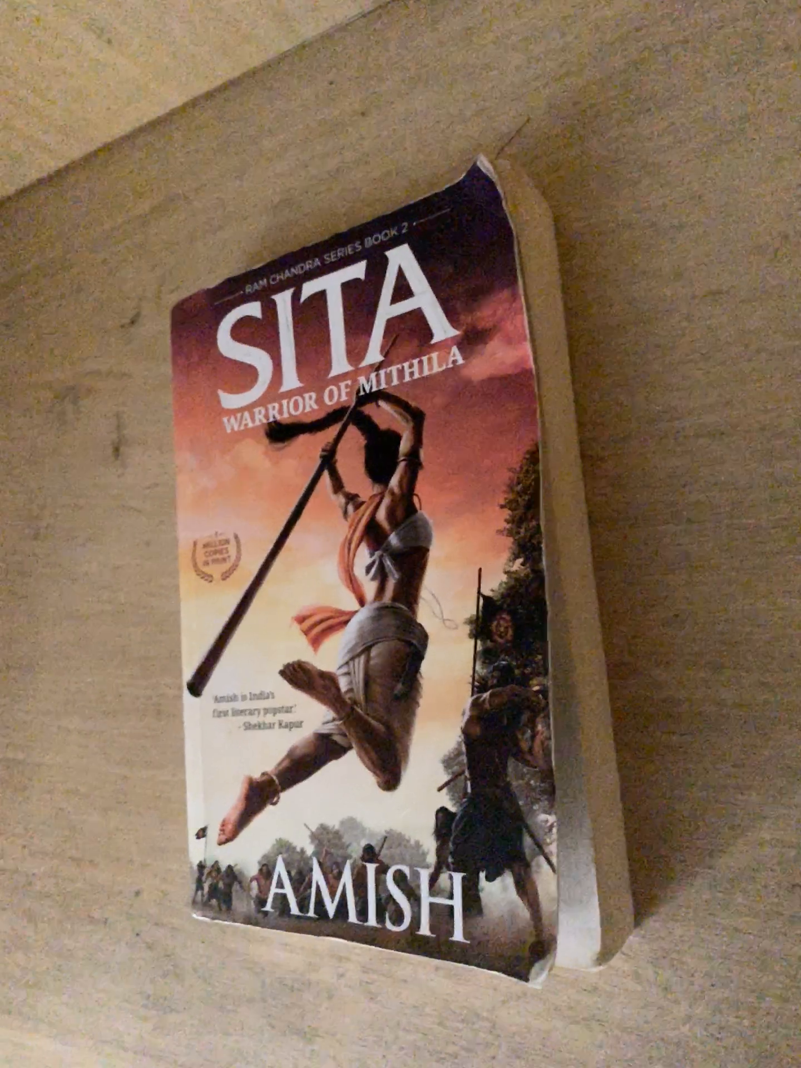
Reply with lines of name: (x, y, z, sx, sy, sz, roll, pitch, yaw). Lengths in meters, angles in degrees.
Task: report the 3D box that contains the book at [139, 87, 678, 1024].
book: (-0.012, 0.007, 0.227, 0.140, 0.030, 0.200, -11, 78, 33)
